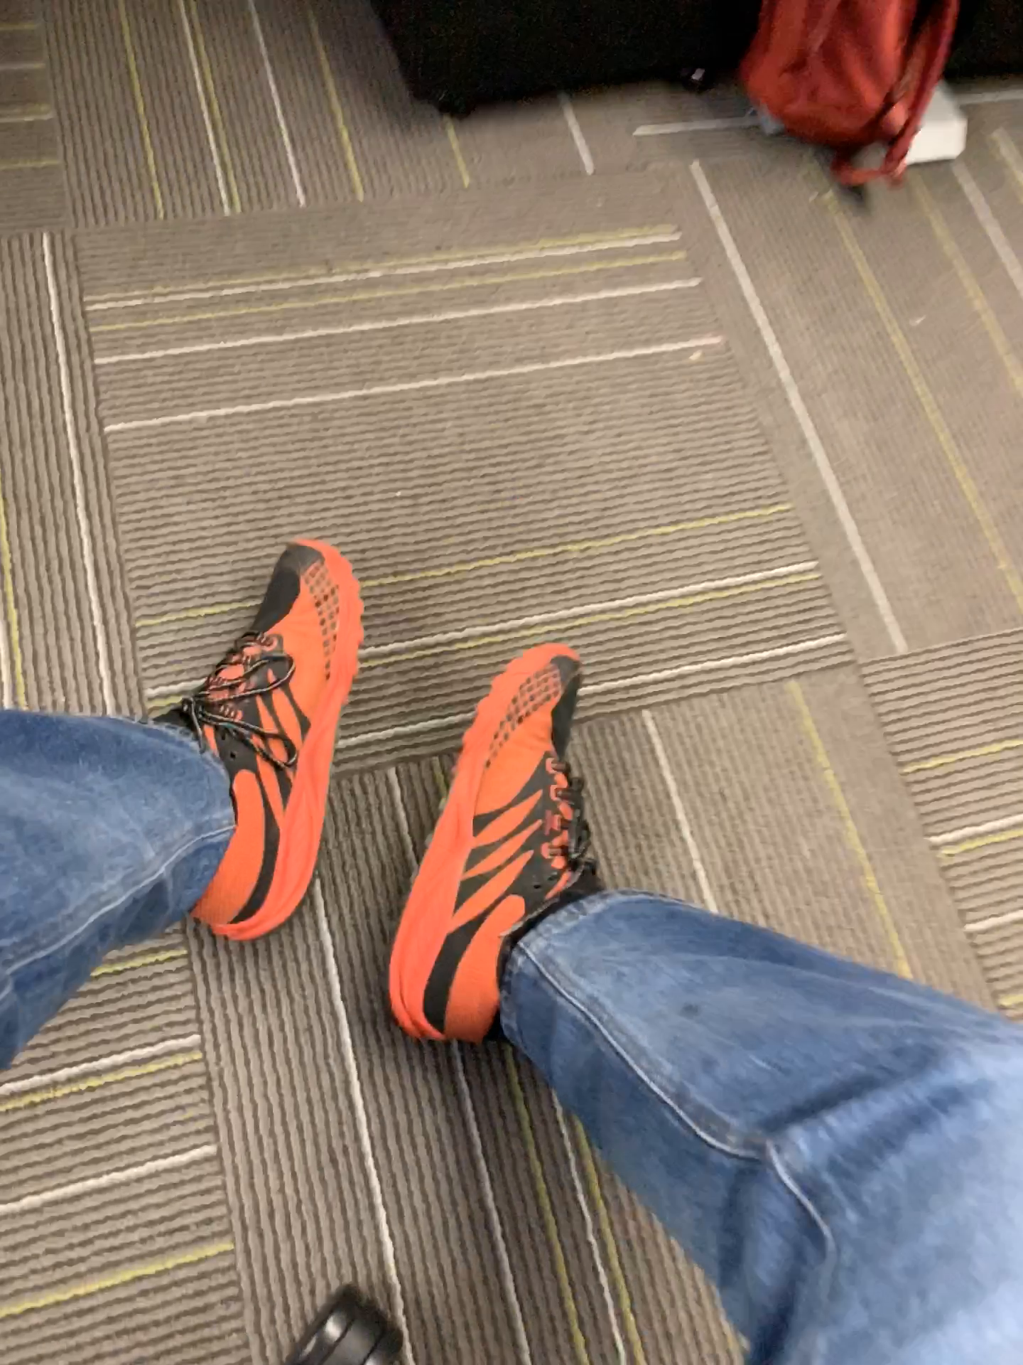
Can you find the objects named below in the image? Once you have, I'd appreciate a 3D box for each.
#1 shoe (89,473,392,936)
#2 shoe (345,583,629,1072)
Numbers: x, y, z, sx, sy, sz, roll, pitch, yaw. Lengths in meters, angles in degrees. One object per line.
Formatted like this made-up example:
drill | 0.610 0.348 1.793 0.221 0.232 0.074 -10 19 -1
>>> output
shoe | -0.193 0.020 0.770 0.108 0.128 0.308 29 58 -42
shoe | -0.003 0.104 0.771 0.108 0.138 0.318 9 66 15
